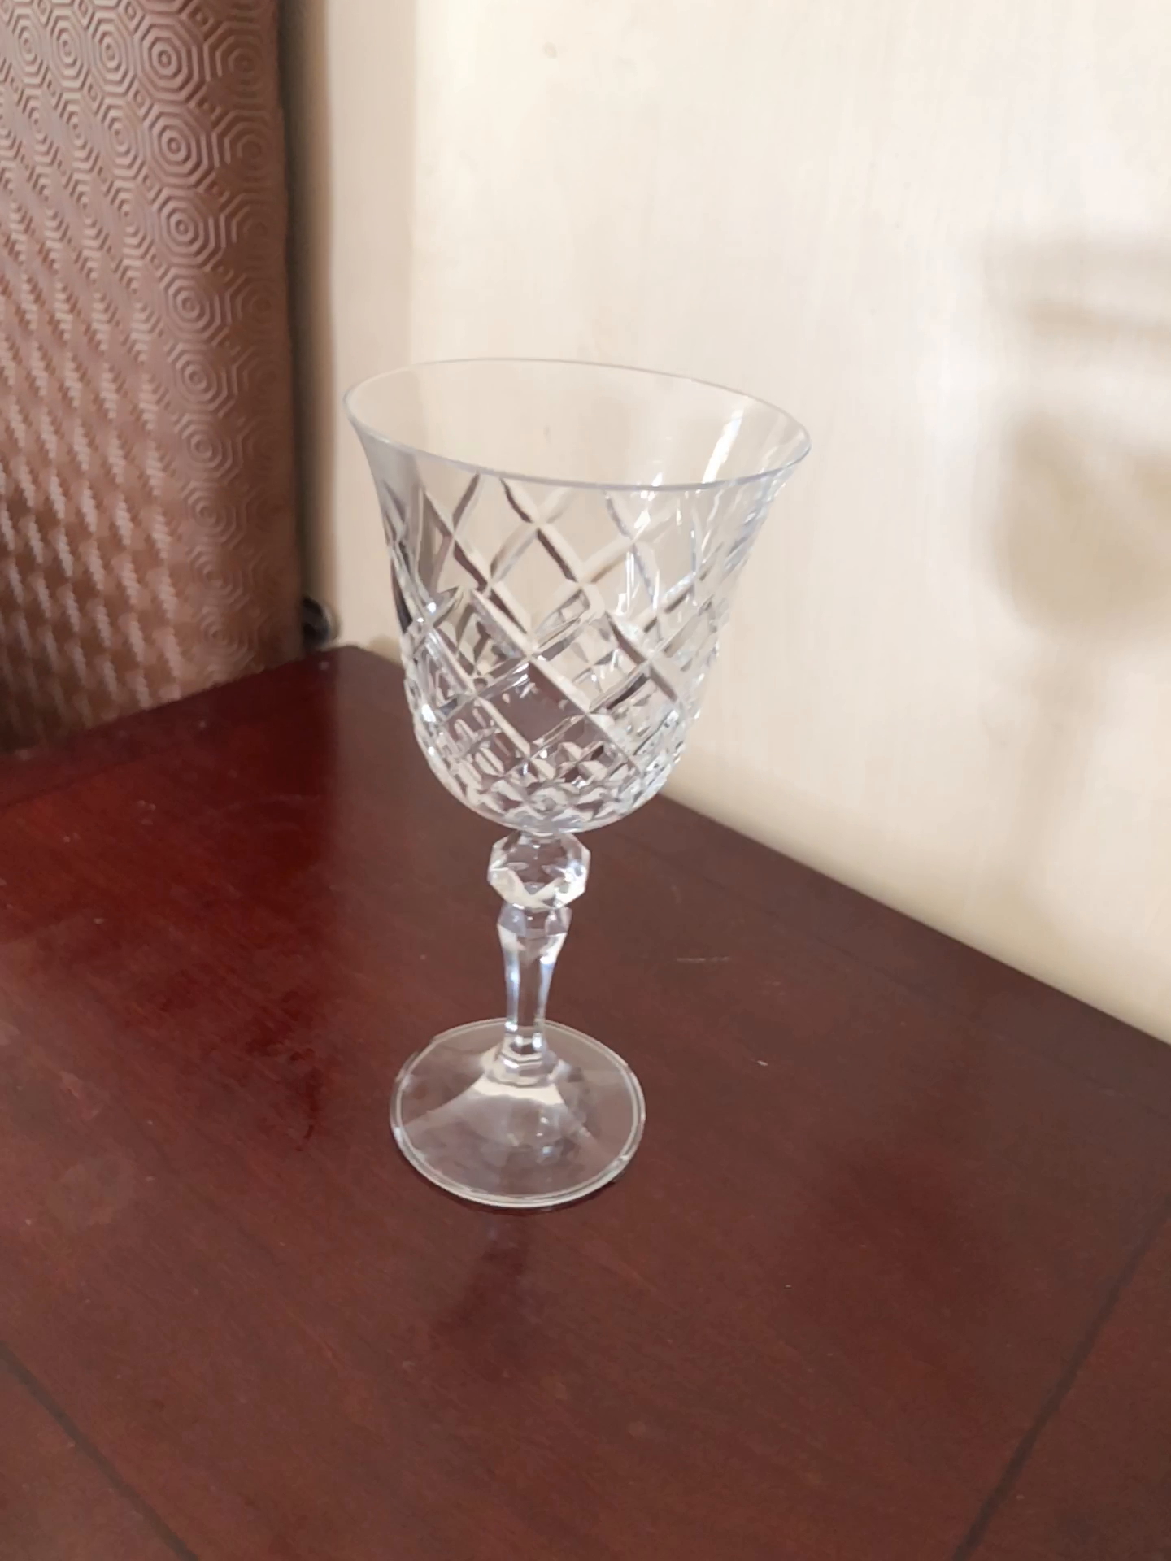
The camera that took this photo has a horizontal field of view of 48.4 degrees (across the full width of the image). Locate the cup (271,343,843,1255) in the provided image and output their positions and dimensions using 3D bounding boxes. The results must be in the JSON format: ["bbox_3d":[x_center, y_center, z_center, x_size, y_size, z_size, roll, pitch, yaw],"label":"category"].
[{"bbox_3d":[-0.006,0.002,0.298,0.091,0.170,0.092,4,29,-2],"label":"cup"}]
